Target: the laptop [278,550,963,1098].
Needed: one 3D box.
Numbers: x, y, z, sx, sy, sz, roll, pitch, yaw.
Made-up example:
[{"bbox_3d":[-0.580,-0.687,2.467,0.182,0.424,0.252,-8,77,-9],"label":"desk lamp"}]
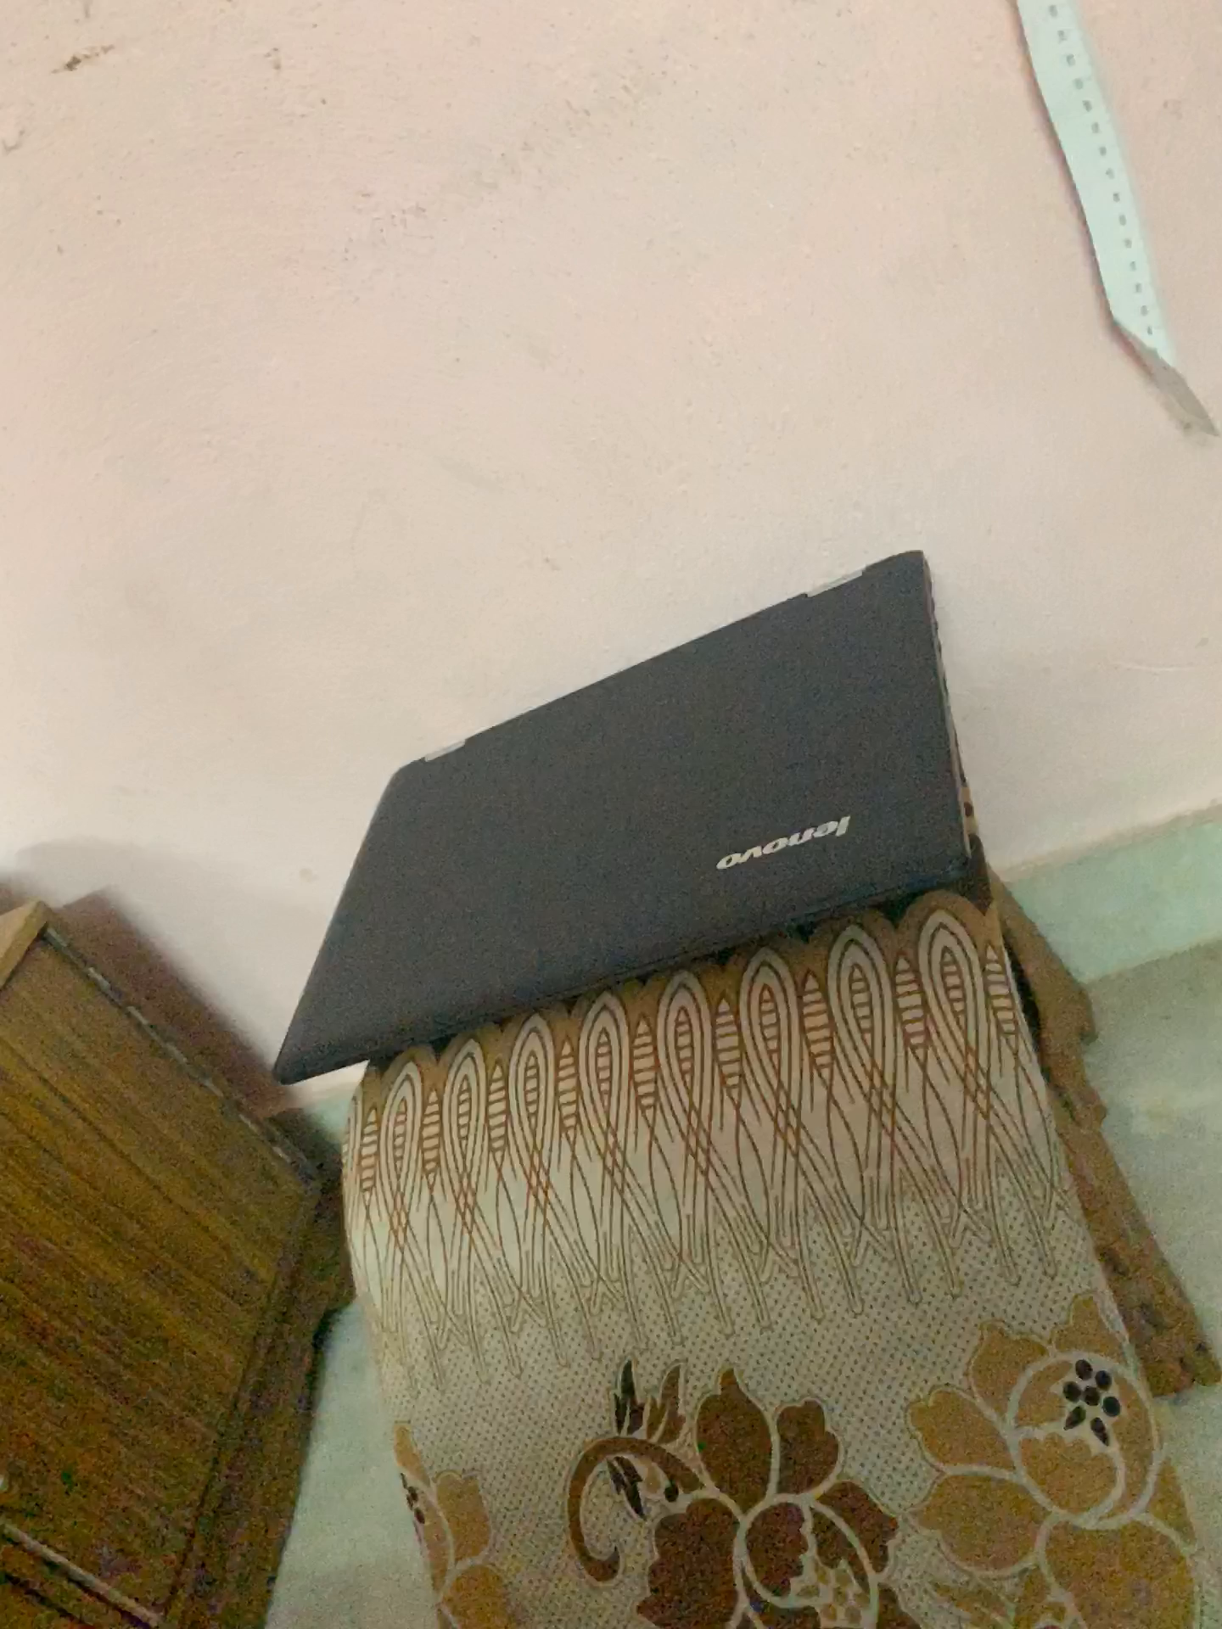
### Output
[{"bbox_3d":[0.000,0.002,0.578,0.313,0.012,0.214,-21,36,24],"label":"laptop"}]
